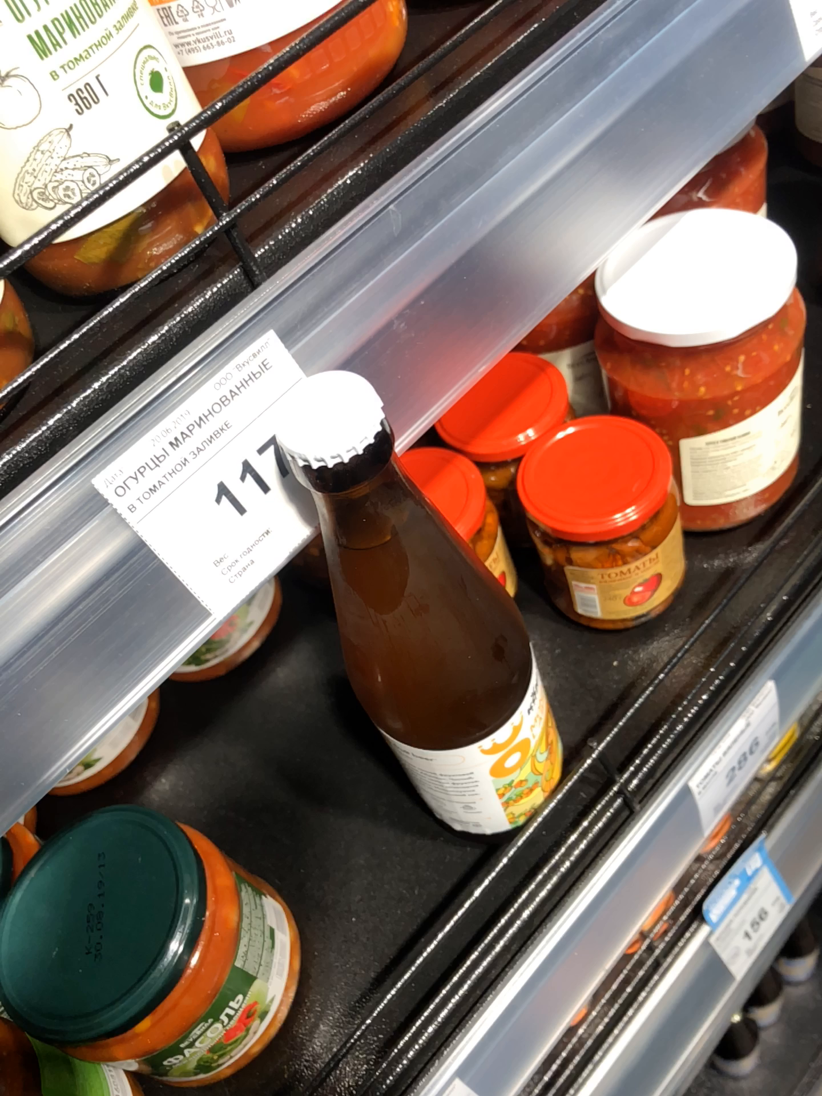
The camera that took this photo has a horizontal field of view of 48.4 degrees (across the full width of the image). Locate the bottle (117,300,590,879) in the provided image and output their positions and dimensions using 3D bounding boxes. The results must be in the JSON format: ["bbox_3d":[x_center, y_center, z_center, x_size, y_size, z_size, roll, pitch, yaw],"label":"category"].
[{"bbox_3d":[0.005,0.035,0.323,0.070,0.249,0.070,-10,52,12],"label":"bottle"}]
